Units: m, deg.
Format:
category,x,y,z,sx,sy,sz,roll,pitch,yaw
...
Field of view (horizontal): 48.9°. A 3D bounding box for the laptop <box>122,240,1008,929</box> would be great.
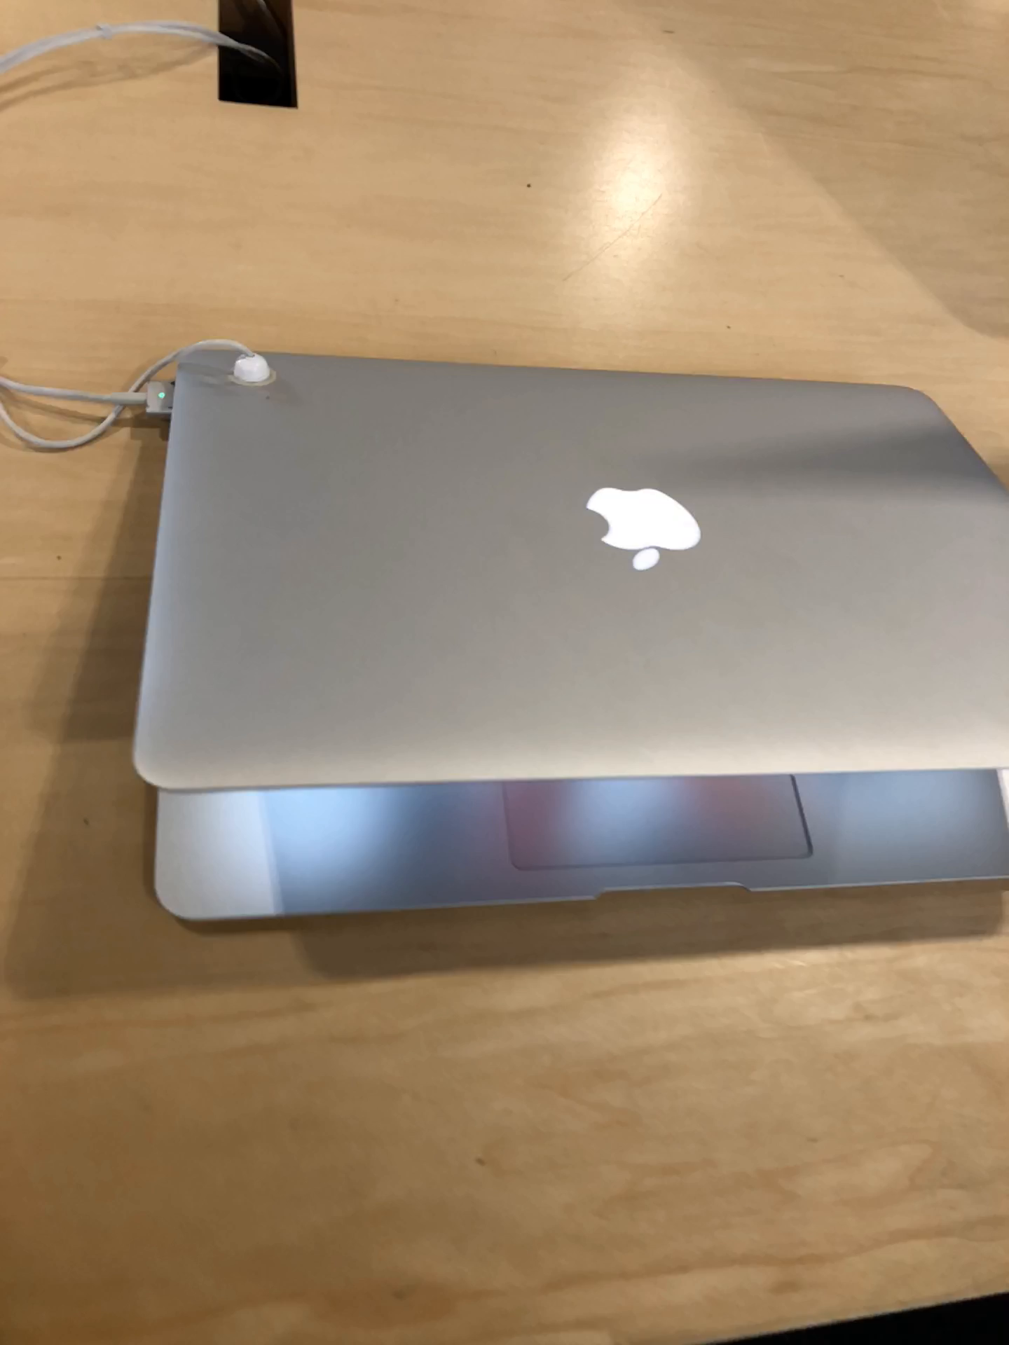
category,x,y,z,sx,sy,sz,roll,pitch,yaw
laptop,0.046,-0.036,0.376,0.315,0.067,0.215,0,59,-11
